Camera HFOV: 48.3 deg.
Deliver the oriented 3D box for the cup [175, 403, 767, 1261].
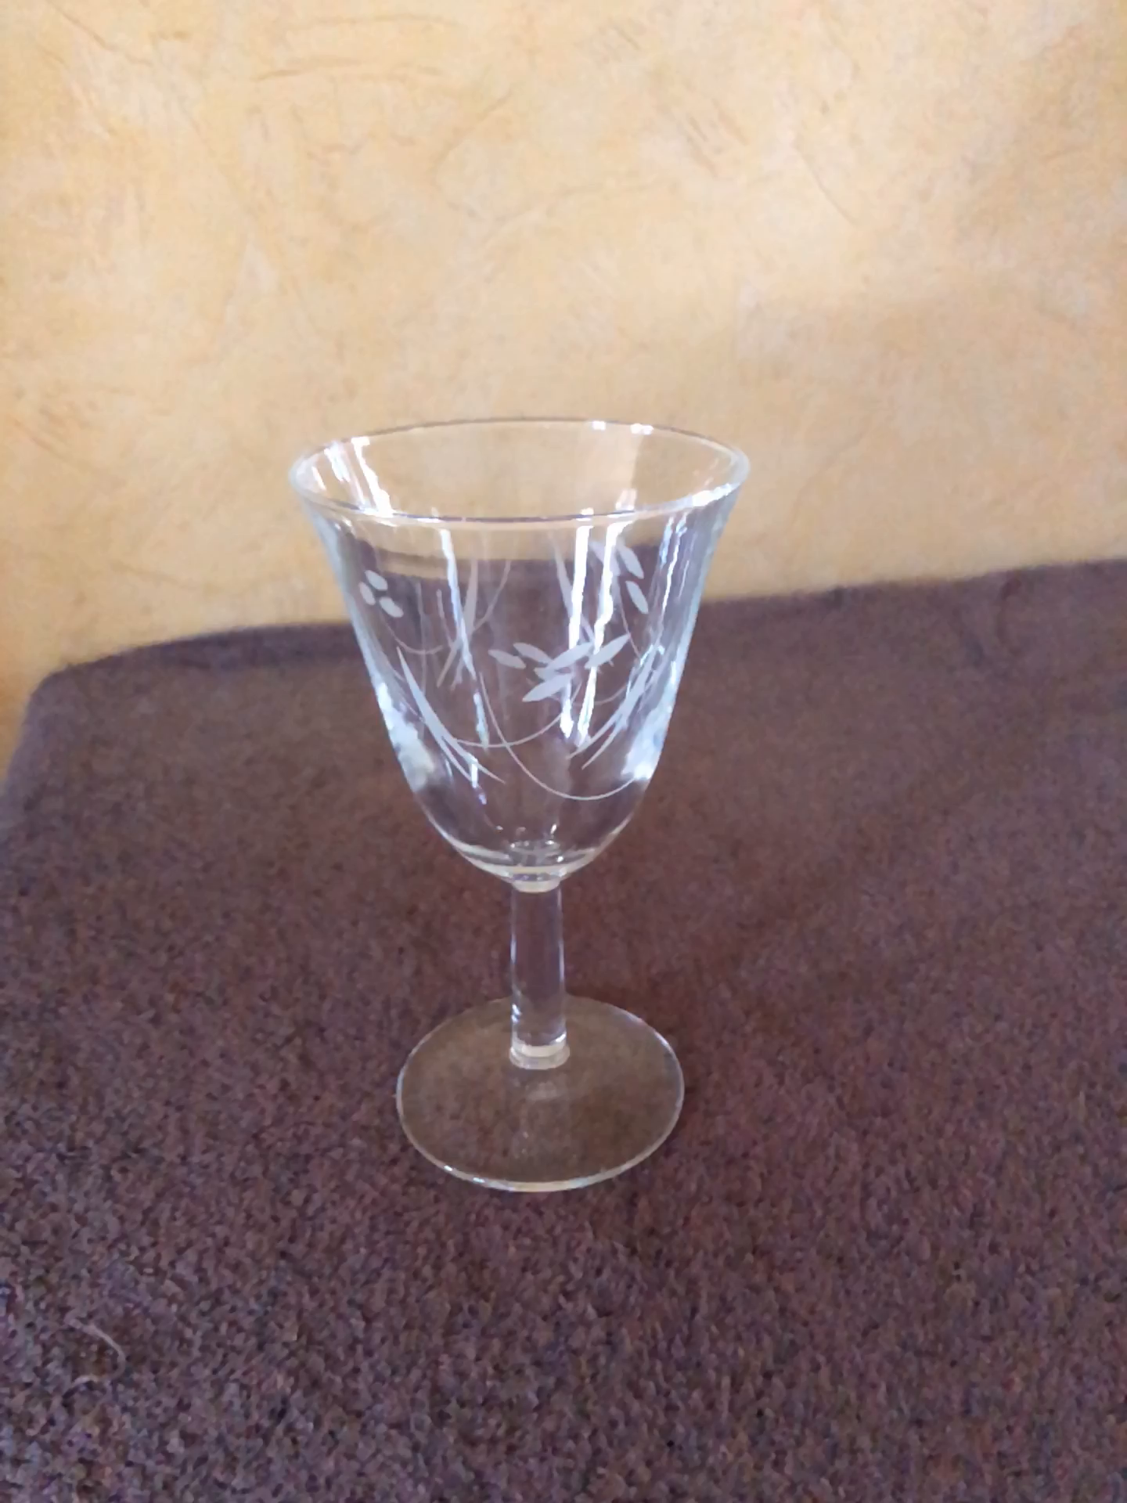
[{"bbox_3d":[-0.008,0.012,0.266,0.090,0.149,0.091,-1,25,1],"label":"cup"}]
